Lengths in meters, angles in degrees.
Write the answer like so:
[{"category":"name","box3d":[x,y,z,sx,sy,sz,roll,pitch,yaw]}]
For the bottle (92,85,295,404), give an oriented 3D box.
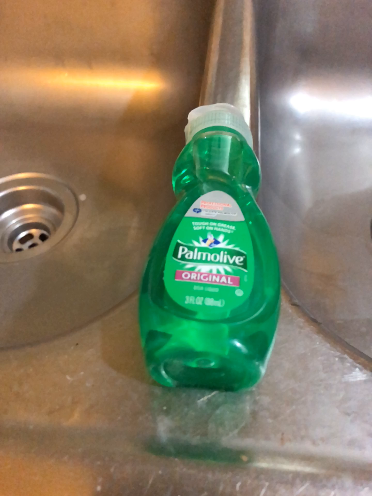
[{"category":"bottle","box3d":[0.007,-0.014,0.157,0.050,0.030,0.130,3,49,4]}]
